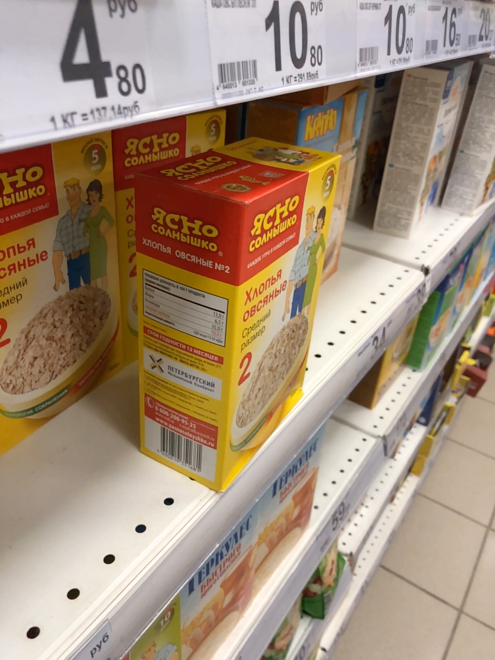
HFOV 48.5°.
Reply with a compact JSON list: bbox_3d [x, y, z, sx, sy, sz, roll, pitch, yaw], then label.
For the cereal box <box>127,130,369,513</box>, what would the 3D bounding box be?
[{"bbox_3d":[0.001,-0.010,0.342,0.070,0.189,0.131,21,36,25],"label":"cereal box"}]
